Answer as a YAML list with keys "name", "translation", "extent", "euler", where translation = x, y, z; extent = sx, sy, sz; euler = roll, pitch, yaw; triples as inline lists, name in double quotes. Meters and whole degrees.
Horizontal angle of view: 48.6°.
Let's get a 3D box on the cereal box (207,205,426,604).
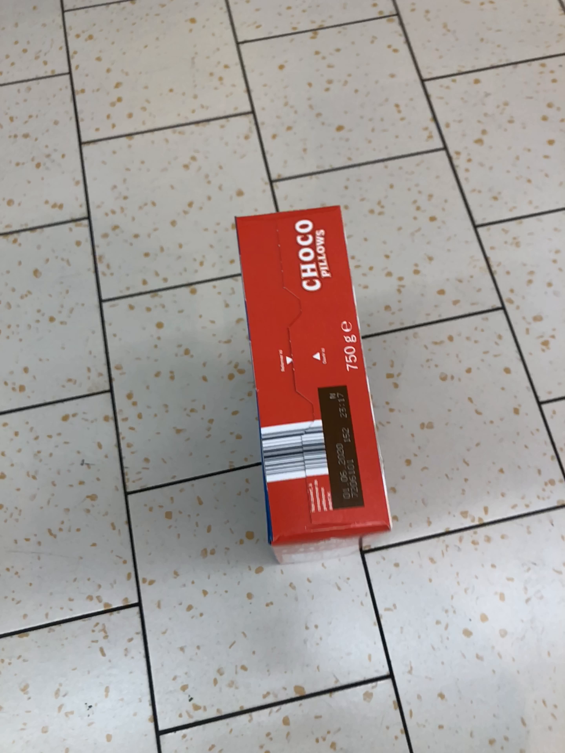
- name: "cereal box"
  translation: [0.014, 0.042, 0.442]
  extent: [0.090, 0.240, 0.210]
  euler: [-6, 71, -1]
